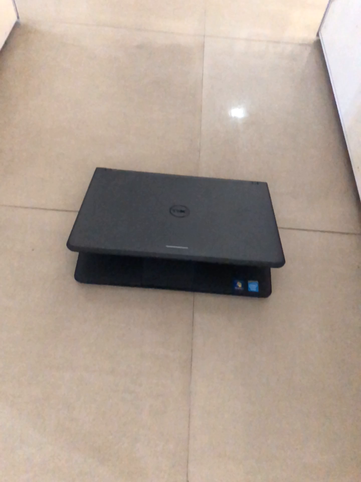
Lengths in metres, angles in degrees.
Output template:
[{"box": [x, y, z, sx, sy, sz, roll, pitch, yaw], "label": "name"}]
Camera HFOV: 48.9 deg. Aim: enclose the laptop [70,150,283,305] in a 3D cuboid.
[{"box": [0.003, -0.027, 0.660, 0.314, 0.064, 0.221, 6, 62, 0], "label": "laptop"}]
